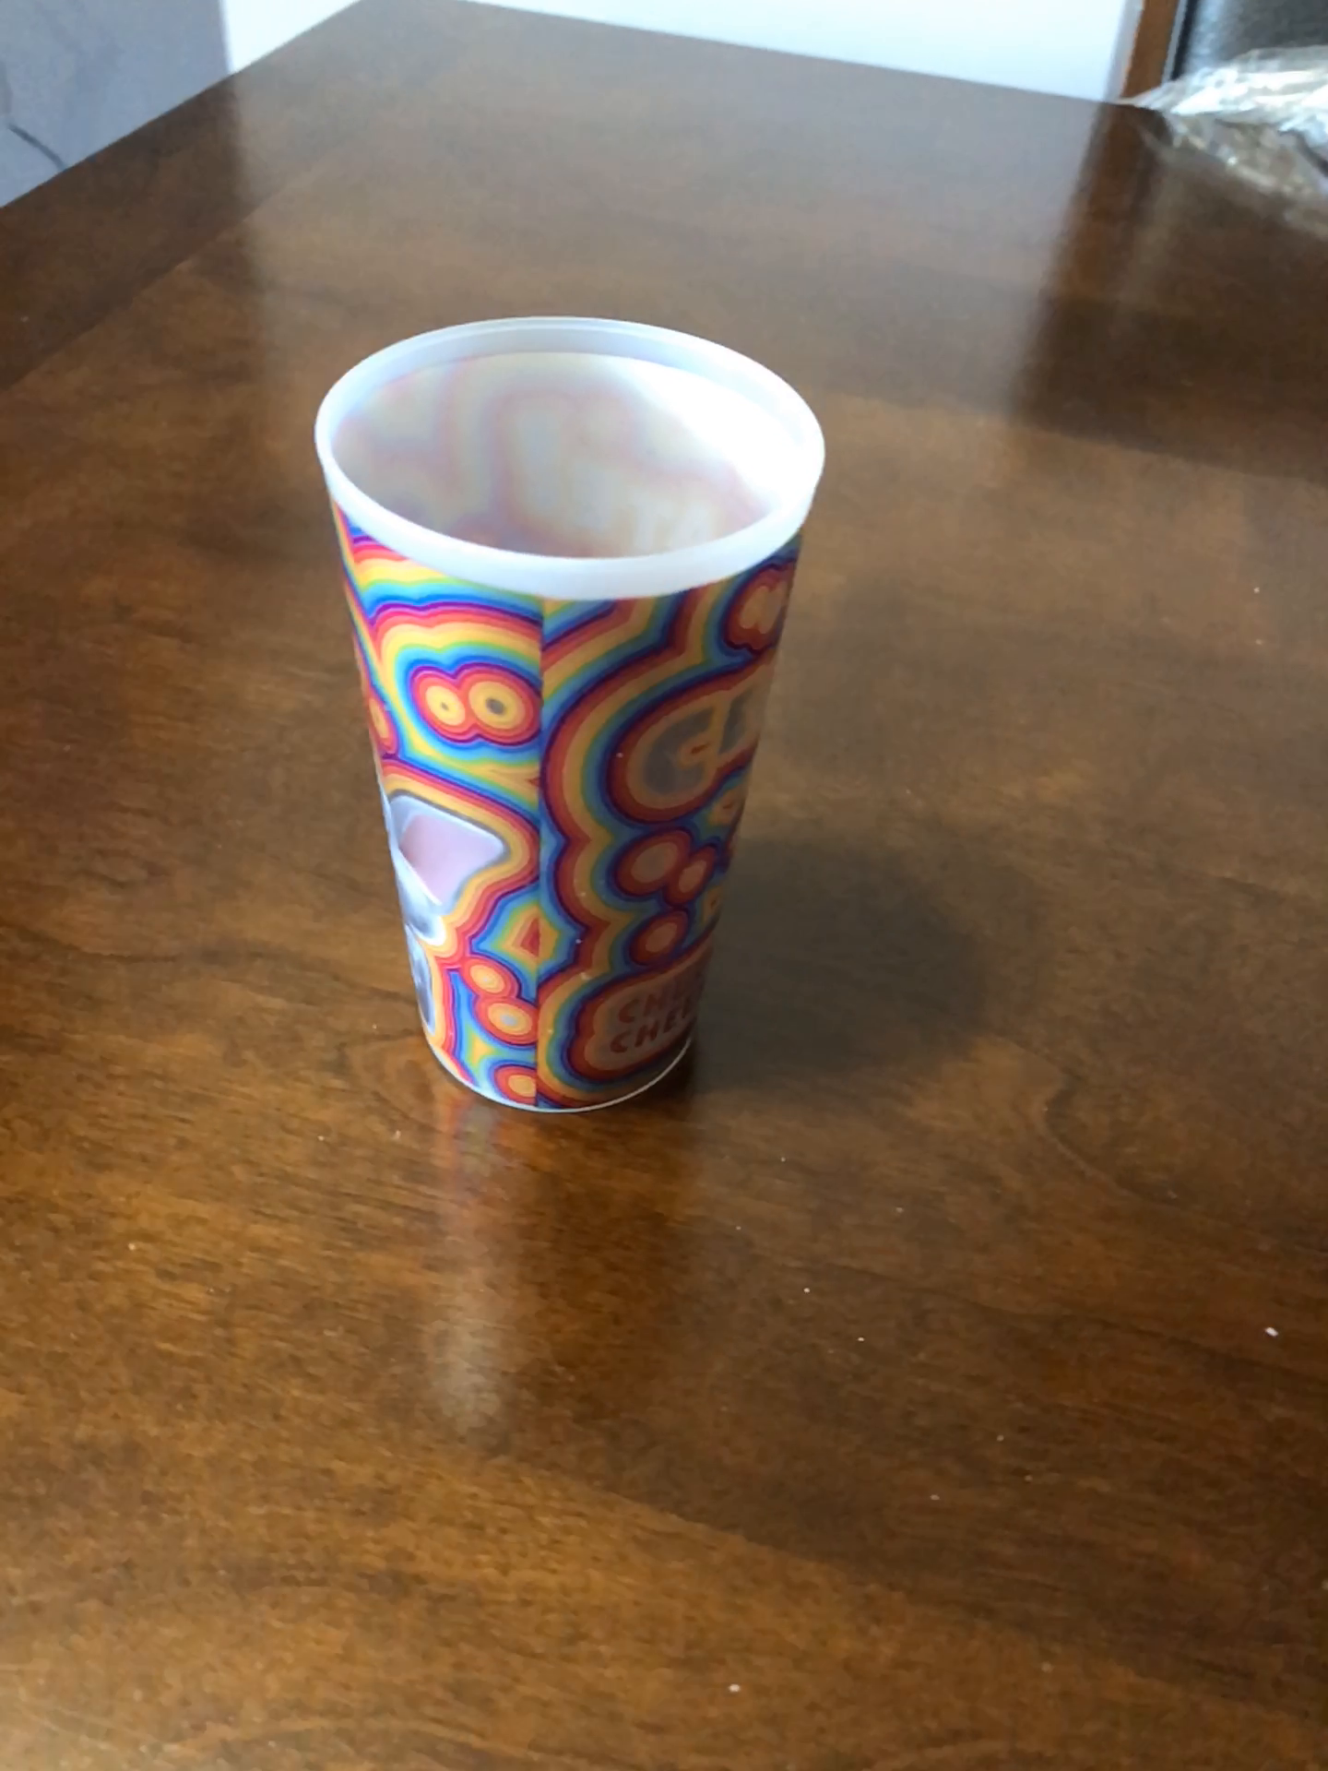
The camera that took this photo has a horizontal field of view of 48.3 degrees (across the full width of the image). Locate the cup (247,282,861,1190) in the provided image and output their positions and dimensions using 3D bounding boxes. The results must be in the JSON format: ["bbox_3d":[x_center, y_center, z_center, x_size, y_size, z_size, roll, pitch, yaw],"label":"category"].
[{"bbox_3d":[-0.016,-0.021,0.258,0.070,0.130,0.070,3,44,-3],"label":"cup"}]
